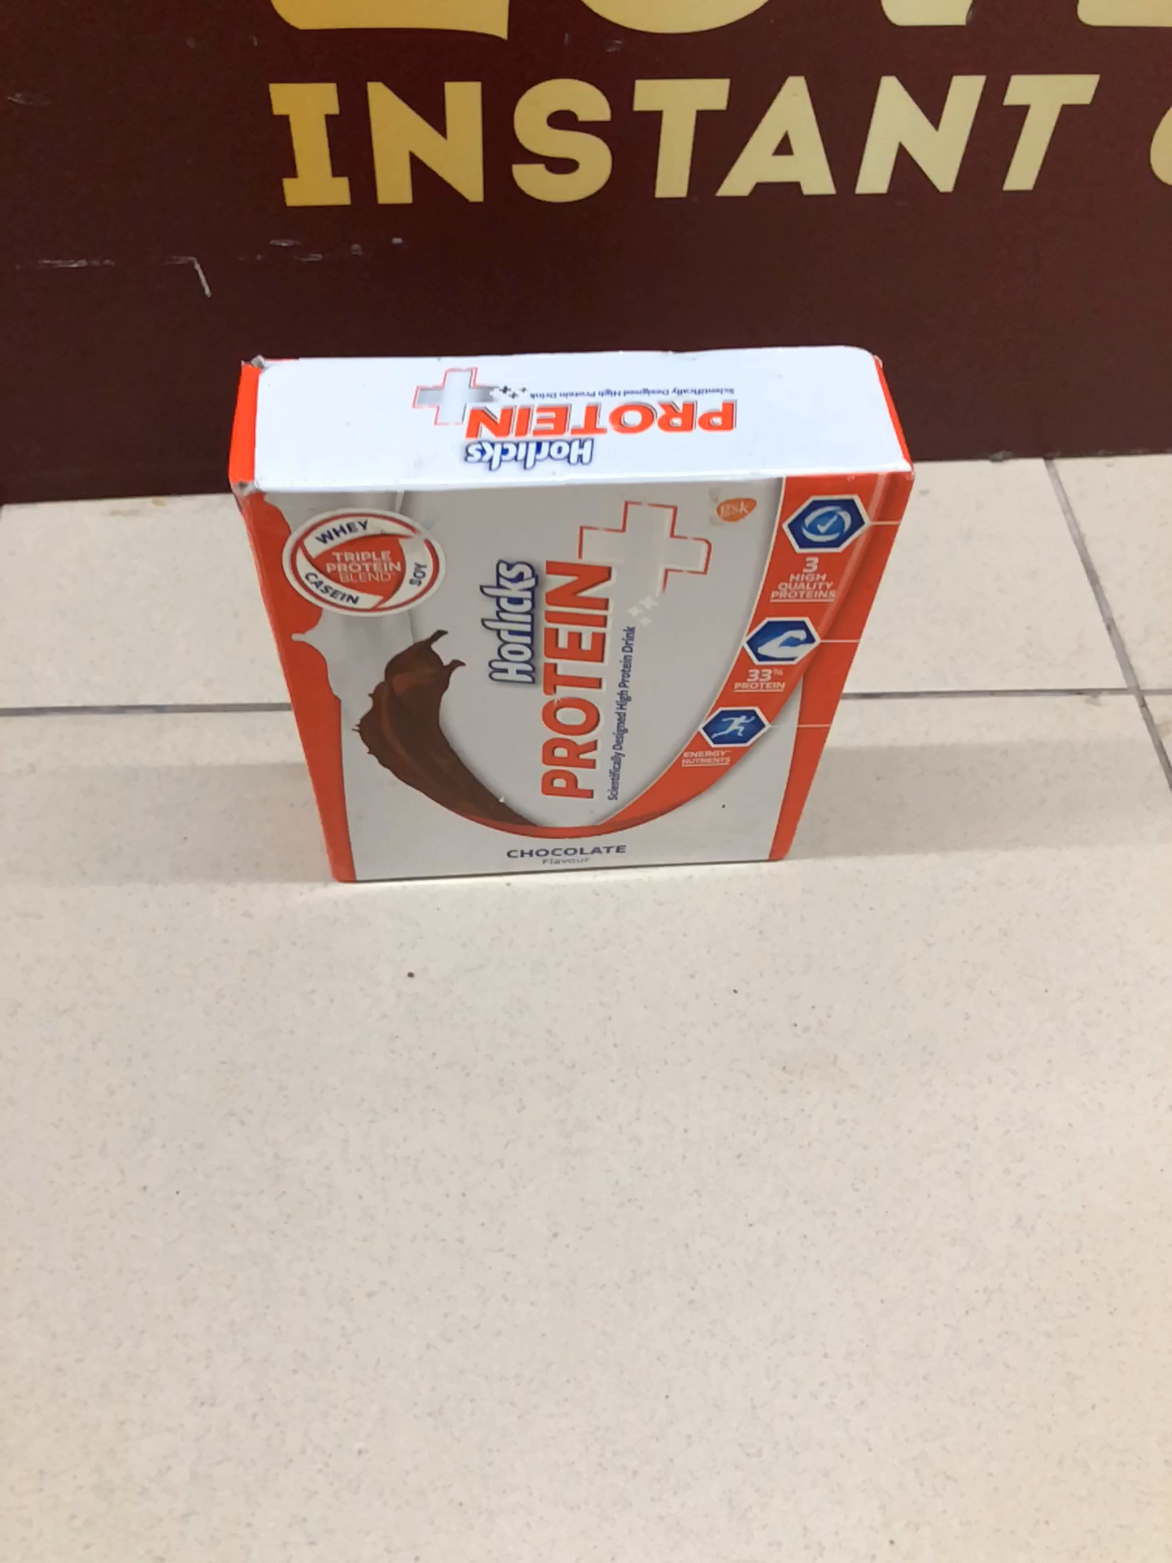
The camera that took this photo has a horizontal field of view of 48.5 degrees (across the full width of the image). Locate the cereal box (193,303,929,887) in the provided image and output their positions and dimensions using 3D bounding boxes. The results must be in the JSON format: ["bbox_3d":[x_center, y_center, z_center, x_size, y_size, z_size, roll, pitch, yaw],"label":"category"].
[{"bbox_3d":[-0.008,-0.037,0.322,0.140,0.149,0.050,-3,56,-5],"label":"cereal box"}]
